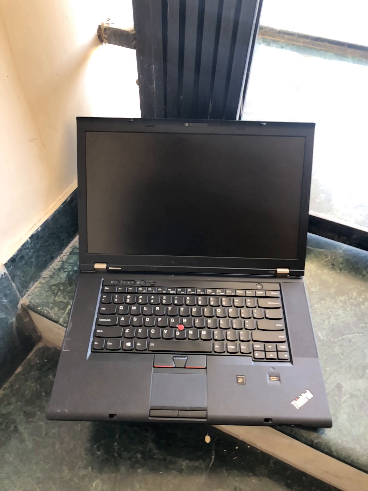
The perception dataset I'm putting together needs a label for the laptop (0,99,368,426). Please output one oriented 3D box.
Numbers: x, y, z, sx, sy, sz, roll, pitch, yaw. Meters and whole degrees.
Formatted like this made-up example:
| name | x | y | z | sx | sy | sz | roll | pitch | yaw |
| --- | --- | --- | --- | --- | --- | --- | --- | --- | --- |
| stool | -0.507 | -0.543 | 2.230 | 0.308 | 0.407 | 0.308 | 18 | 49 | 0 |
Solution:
| name | x | y | z | sx | sy | sz | roll | pitch | yaw |
| --- | --- | --- | --- | --- | --- | --- | --- | --- | --- |
| laptop | 0.011 | 0.003 | 0.557 | 0.359 | 0.181 | 0.389 | 2 | 52 | 0 |
